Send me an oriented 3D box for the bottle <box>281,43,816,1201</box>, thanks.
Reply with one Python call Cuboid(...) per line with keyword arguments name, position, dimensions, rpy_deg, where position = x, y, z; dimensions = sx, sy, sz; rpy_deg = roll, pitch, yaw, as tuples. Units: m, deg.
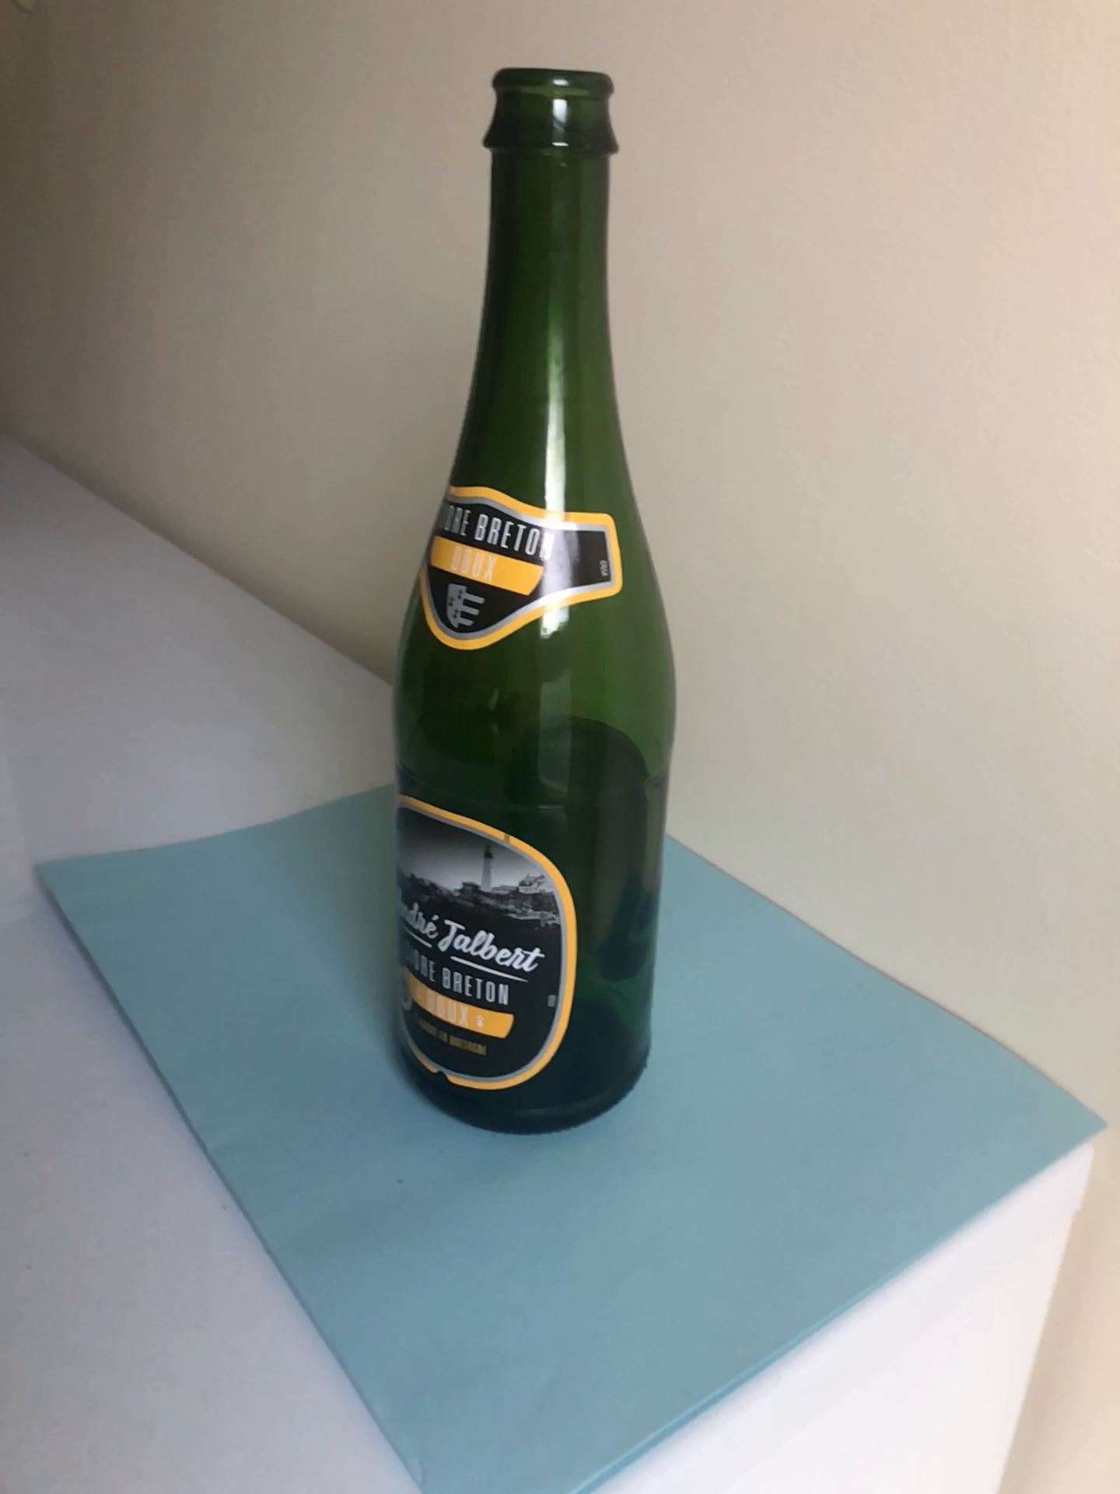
Cuboid(name="bottle", position=(-0.006, -0.027, 0.336), dimensions=(0.090, 0.278, 0.080), rpy_deg=(19, 30, 33))
